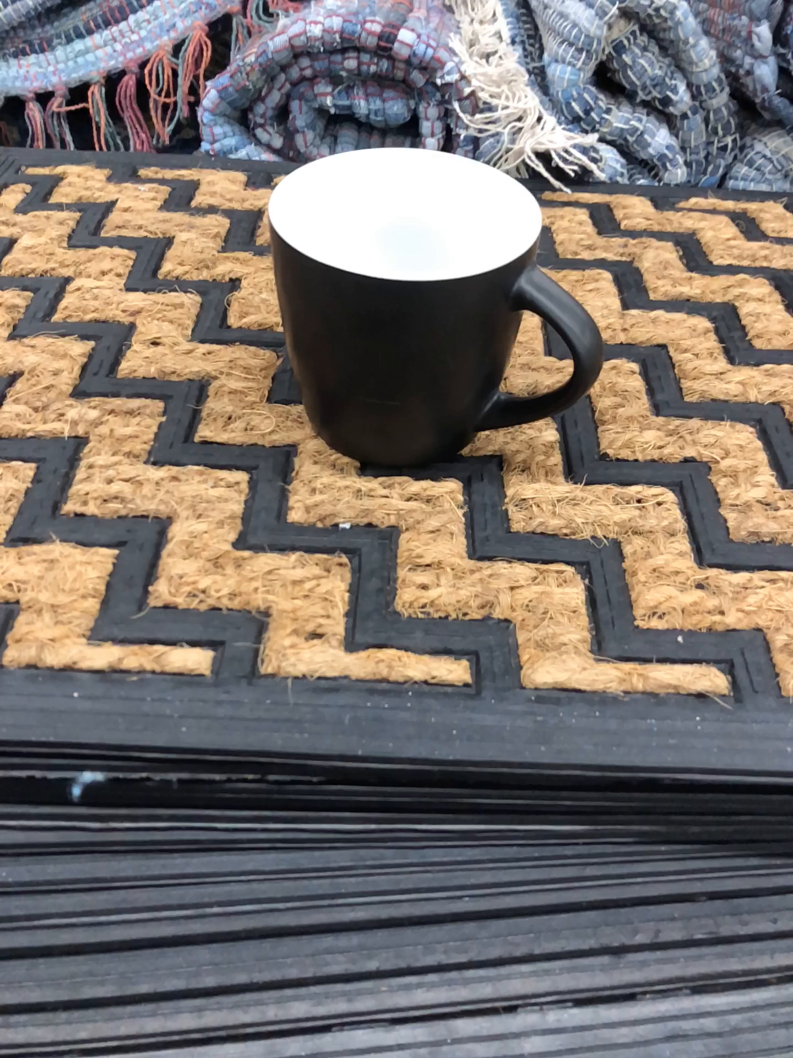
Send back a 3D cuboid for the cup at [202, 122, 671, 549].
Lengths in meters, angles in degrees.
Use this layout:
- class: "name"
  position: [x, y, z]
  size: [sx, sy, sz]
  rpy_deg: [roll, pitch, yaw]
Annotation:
- class: "cup"
  position: [0.013, -0.074, 0.311]
  size: [0.123, 0.081, 0.090]
  rpy_deg: [27, 51, 21]
